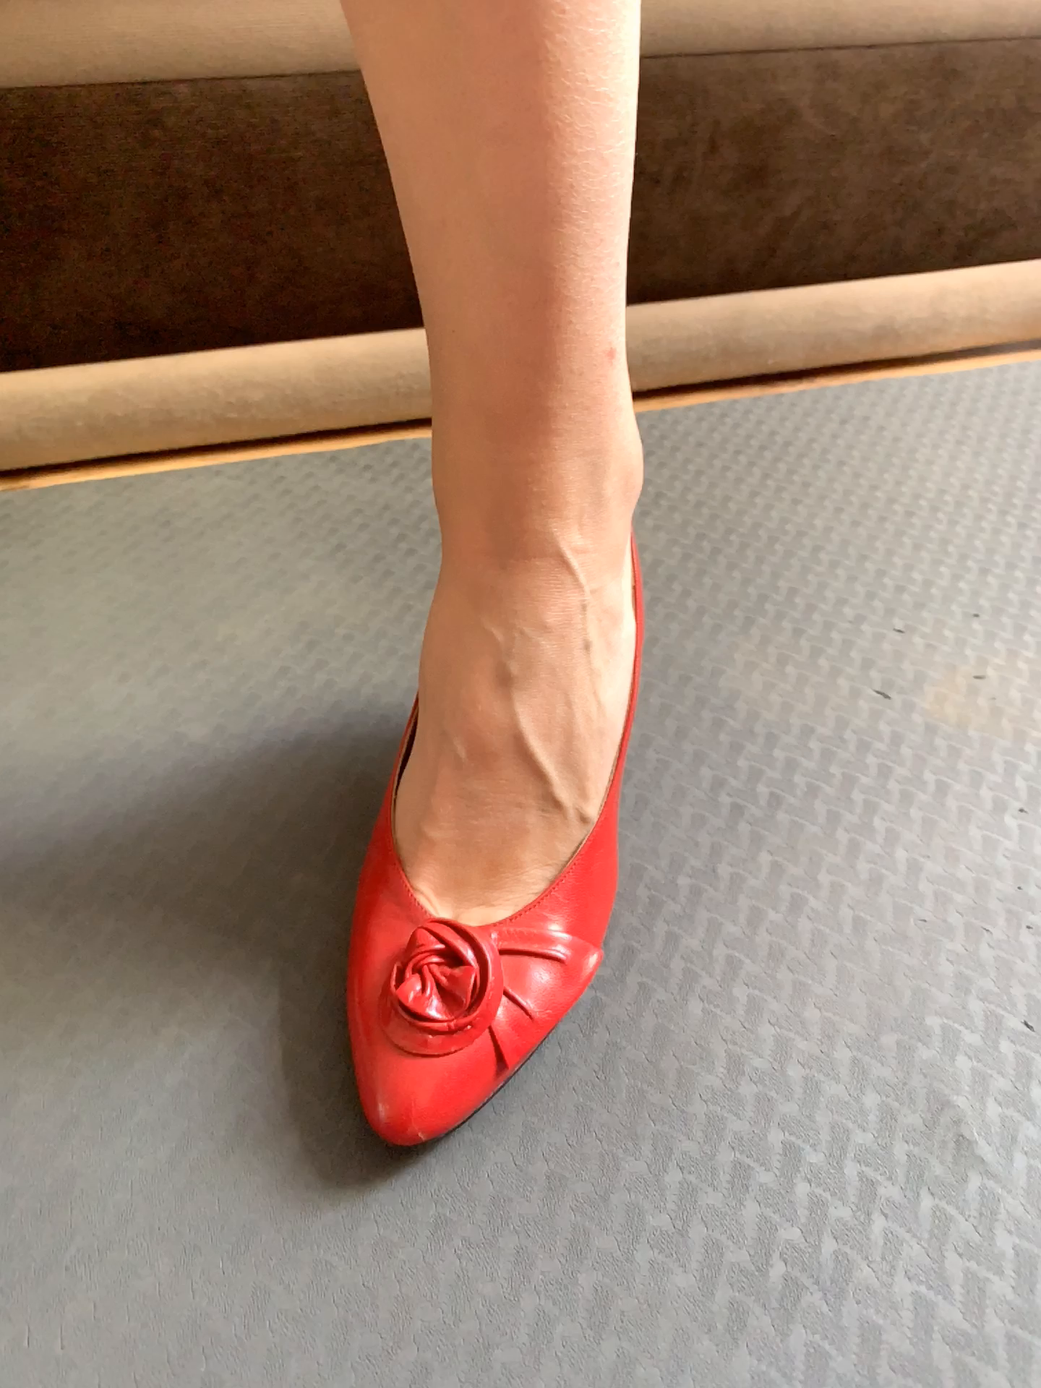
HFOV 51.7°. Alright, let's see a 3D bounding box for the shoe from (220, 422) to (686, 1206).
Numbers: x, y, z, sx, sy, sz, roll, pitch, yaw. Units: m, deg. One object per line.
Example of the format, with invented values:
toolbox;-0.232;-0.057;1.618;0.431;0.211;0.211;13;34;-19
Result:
shoe;-0.002;0.017;0.324;0.080;0.109;0.211;7;39;8
